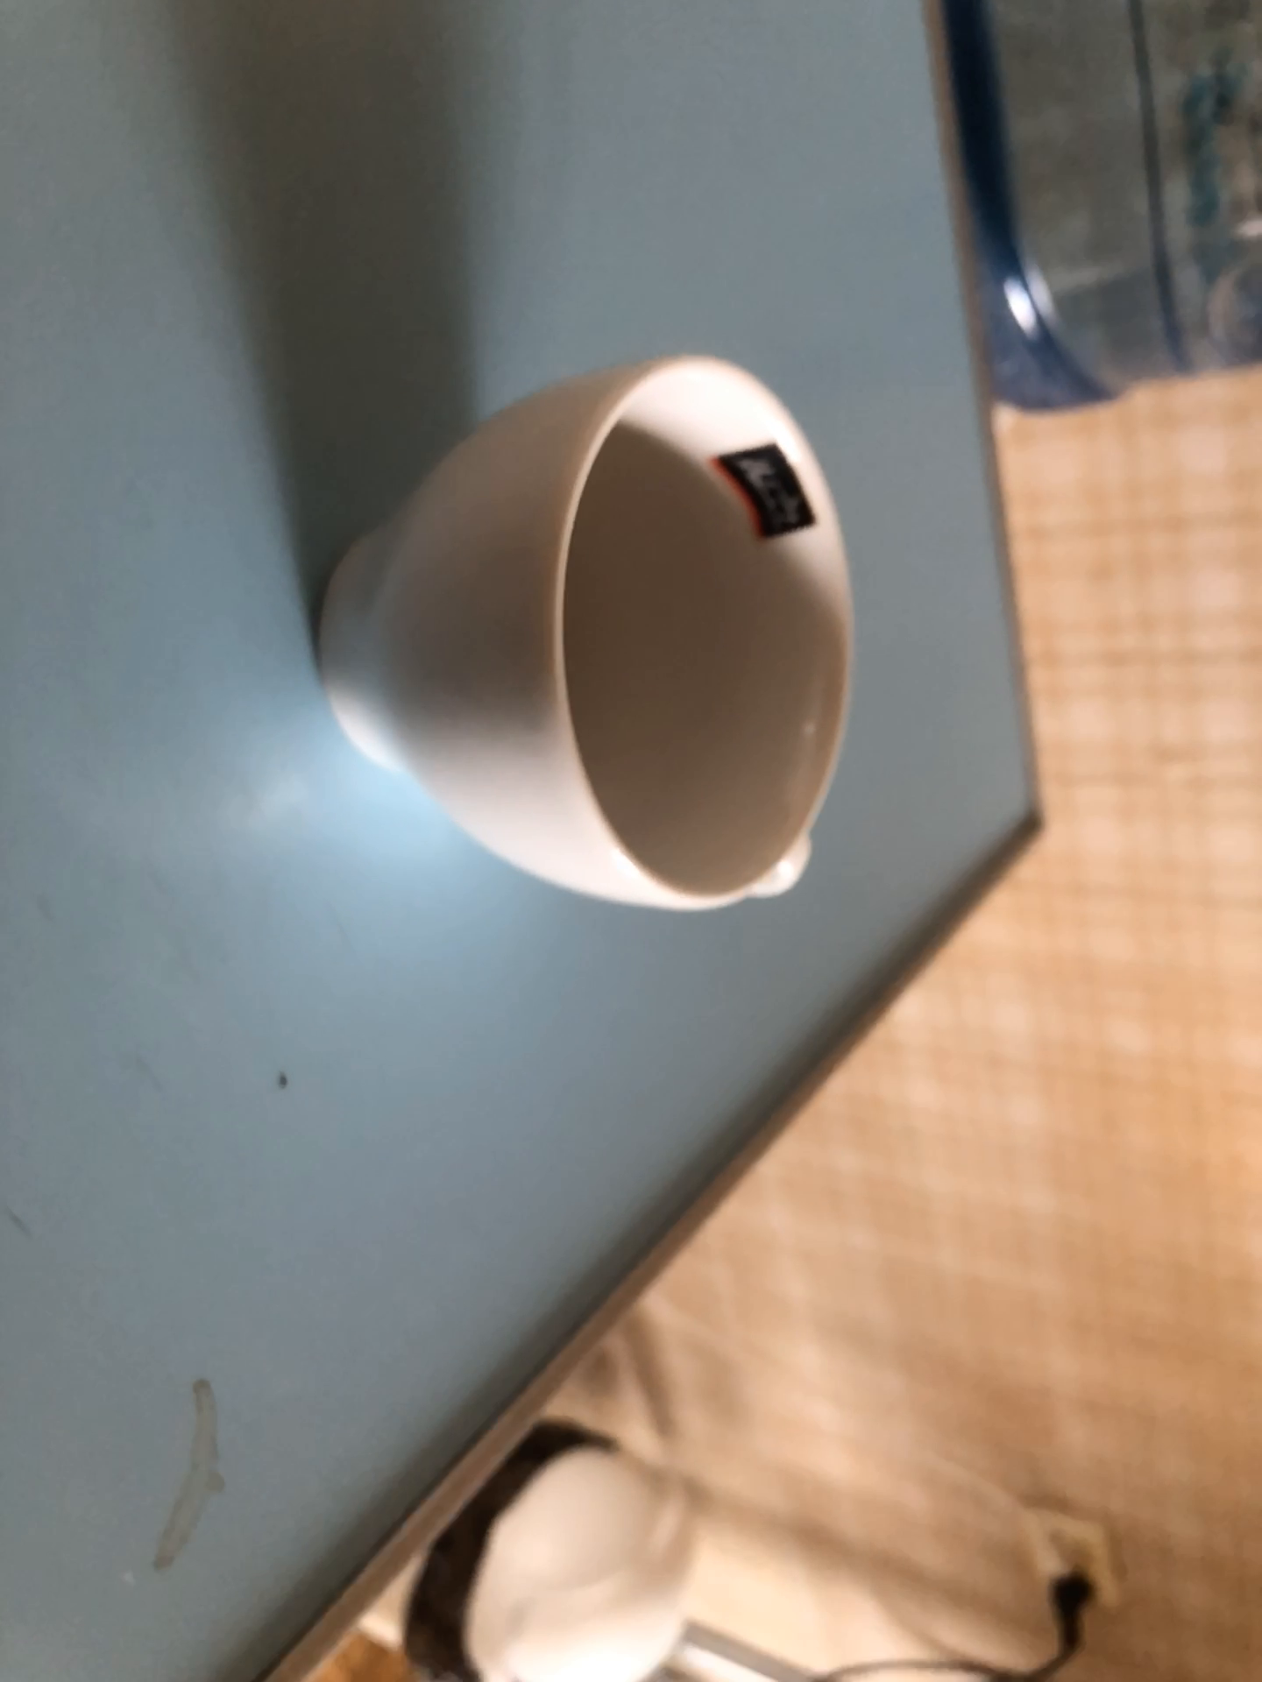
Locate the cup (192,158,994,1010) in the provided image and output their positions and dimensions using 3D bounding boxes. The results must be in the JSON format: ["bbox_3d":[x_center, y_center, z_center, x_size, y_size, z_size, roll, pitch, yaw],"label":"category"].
[{"bbox_3d":[0.003,-0.034,0.247,0.111,0.065,0.088,37,63,-47],"label":"cup"}]
